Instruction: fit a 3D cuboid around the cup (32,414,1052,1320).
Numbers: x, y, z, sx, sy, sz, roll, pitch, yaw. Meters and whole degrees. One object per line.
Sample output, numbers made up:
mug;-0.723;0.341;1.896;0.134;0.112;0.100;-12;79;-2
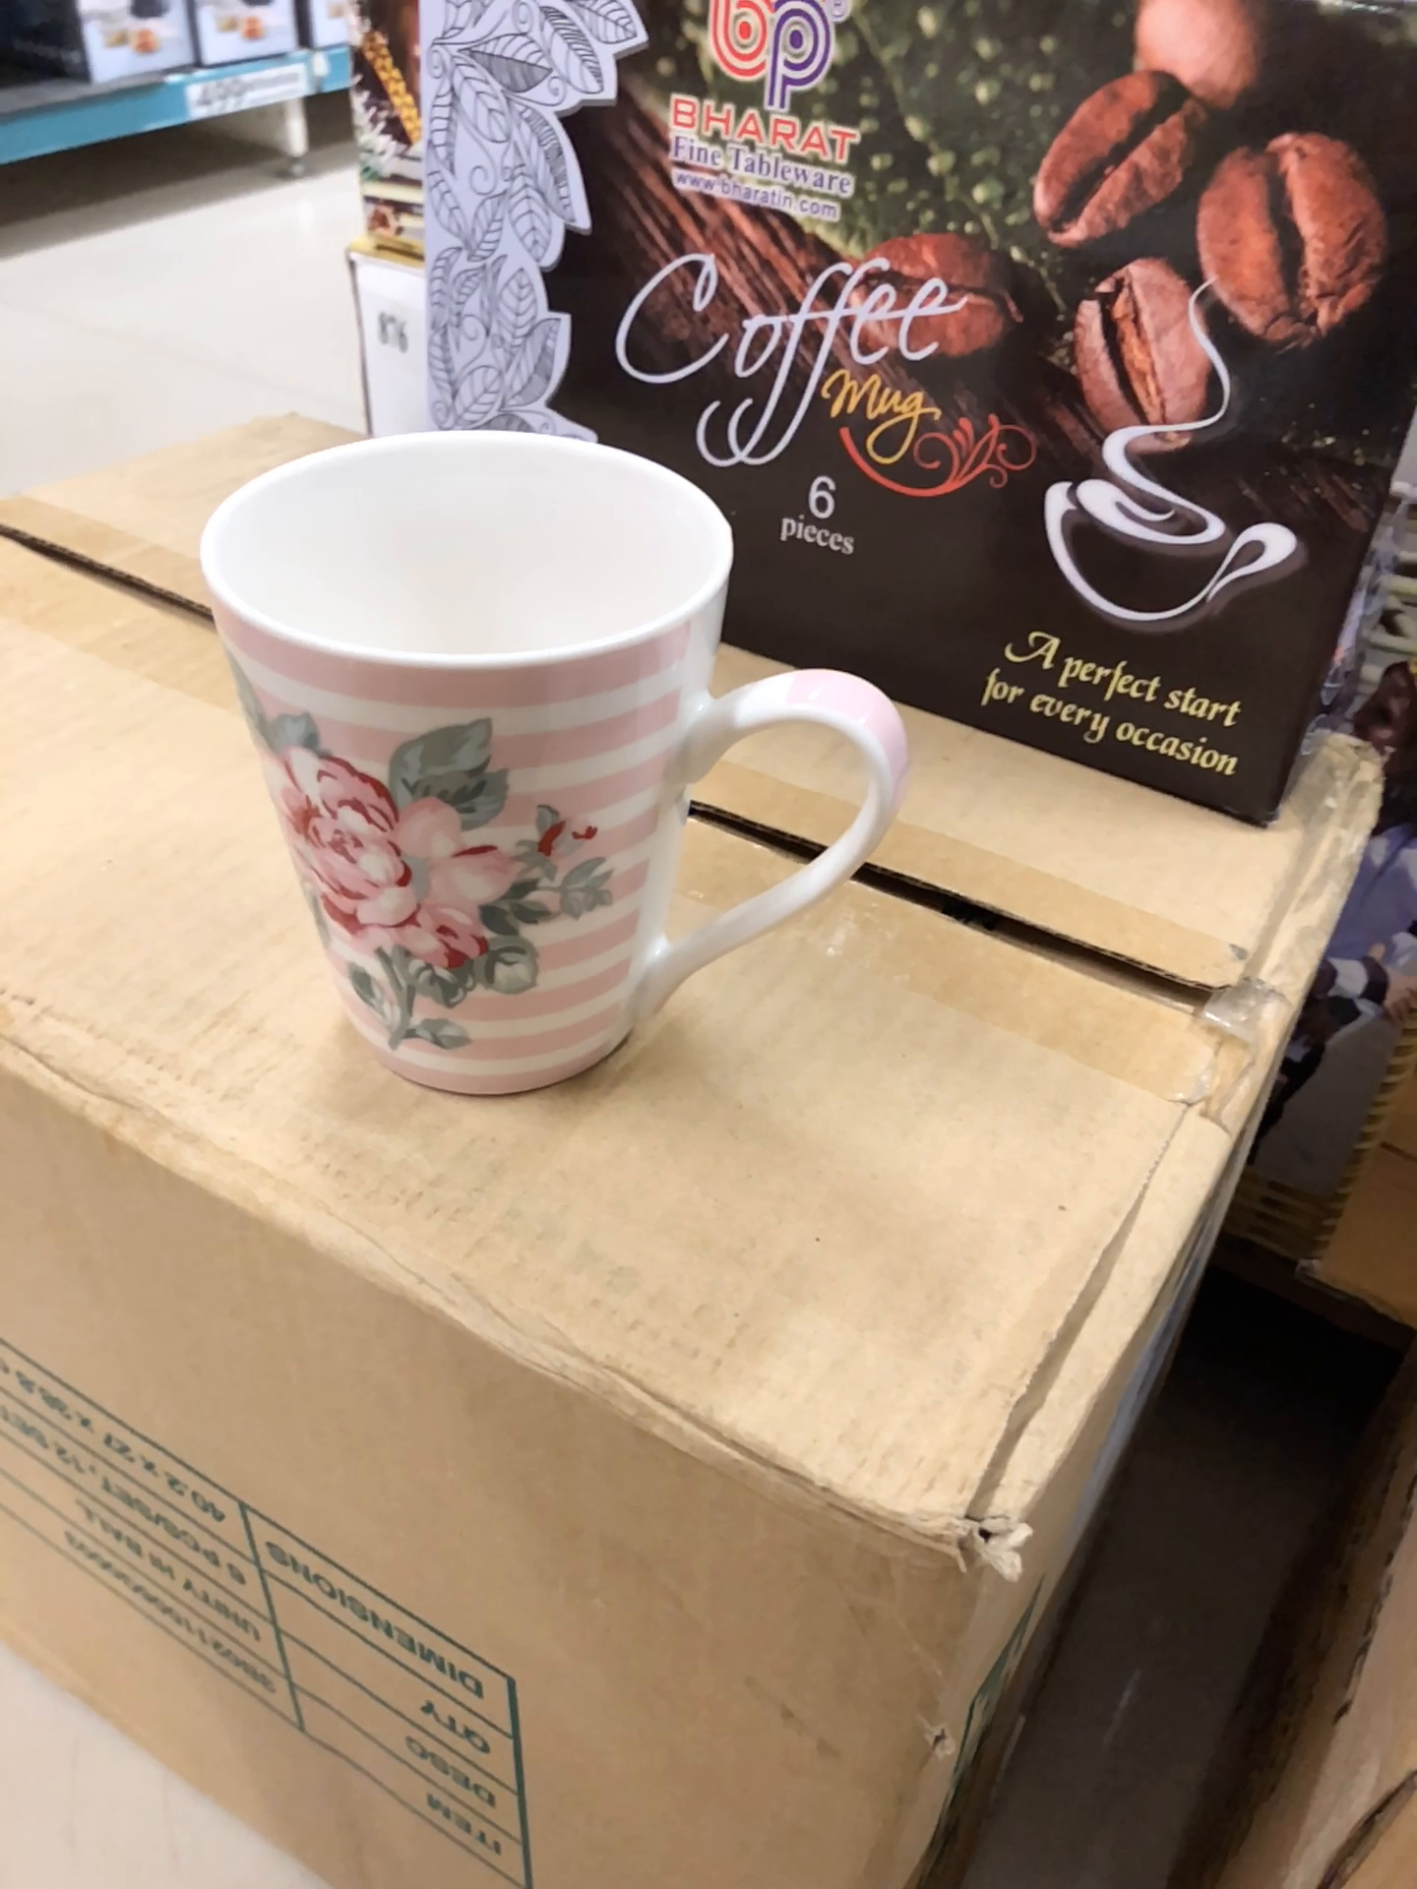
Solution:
cup;-0.024;-0.021;0.273;0.130;0.089;0.091;19;41;18
